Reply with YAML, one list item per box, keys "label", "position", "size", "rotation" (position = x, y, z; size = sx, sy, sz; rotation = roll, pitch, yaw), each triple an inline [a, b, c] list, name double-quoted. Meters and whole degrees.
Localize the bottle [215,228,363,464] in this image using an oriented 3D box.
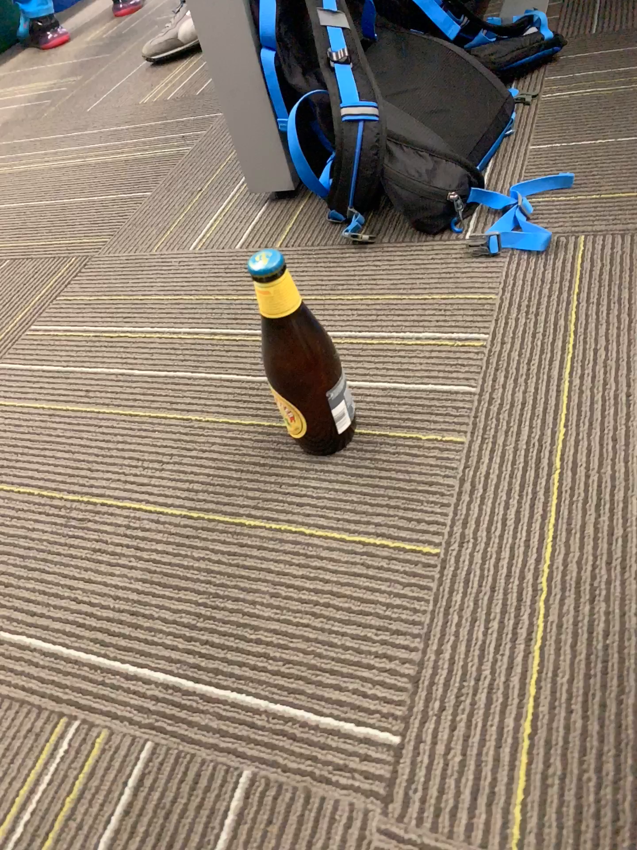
- label: "bottle"
  position: [-0.016, -0.056, 0.534]
  size: [0.070, 0.179, 0.070]
  rotation: [-10, 45, 10]
